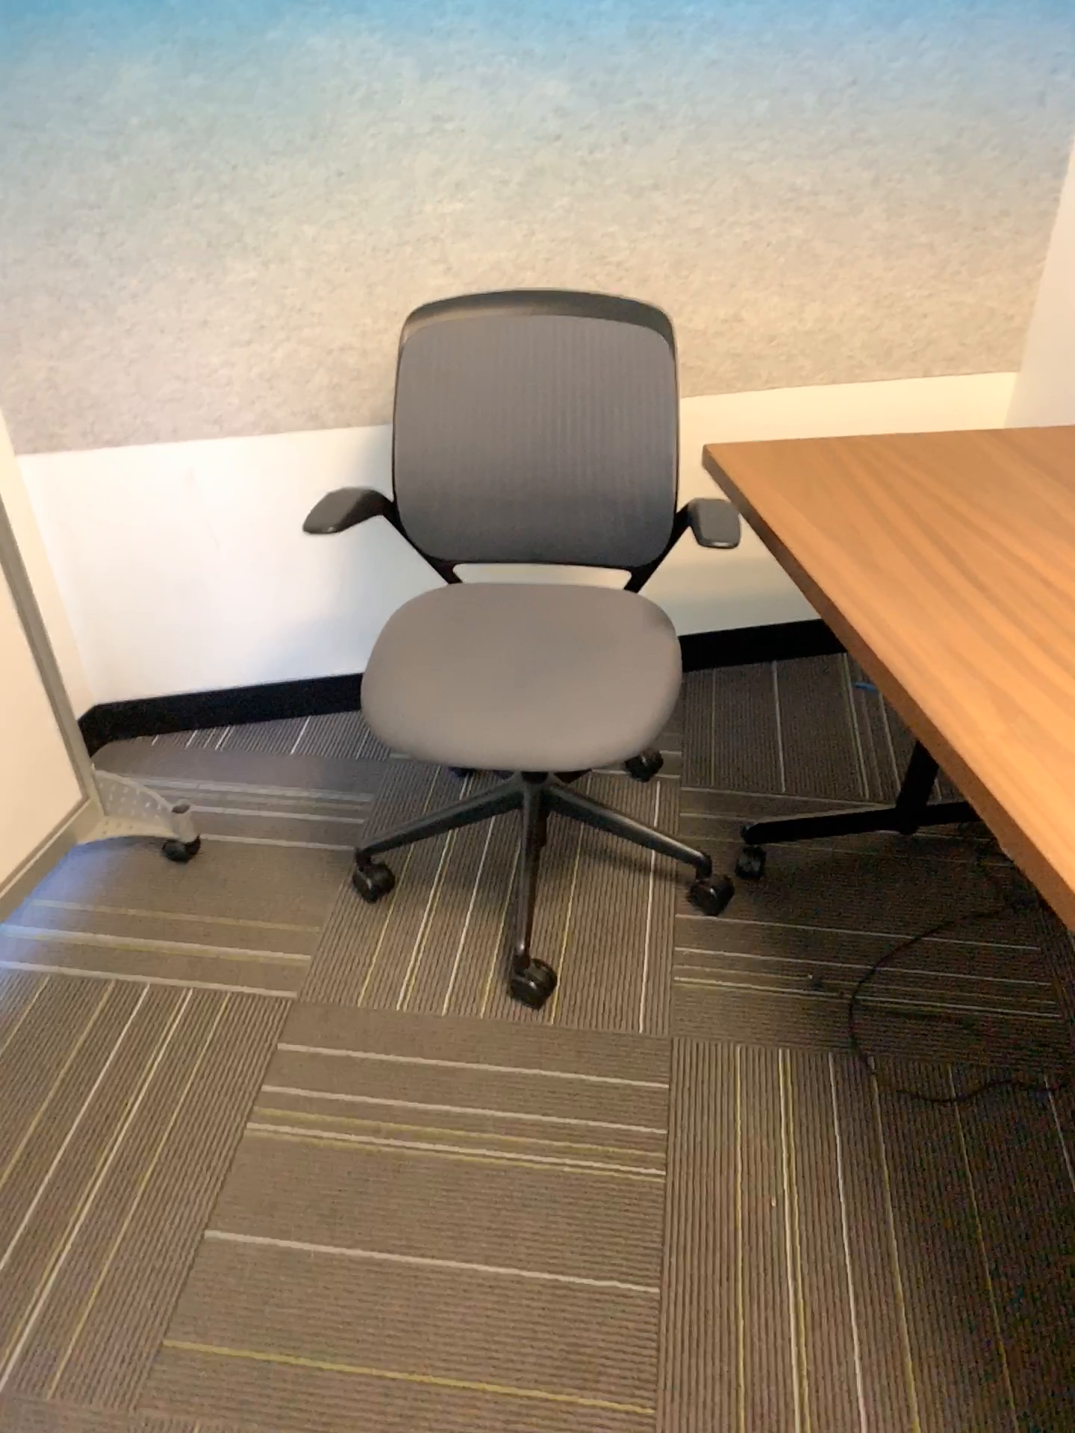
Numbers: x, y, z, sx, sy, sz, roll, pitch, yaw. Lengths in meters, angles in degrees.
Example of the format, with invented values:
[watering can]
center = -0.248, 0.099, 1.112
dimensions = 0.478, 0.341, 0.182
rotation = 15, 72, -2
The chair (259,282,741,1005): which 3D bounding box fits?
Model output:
[chair]
center = -0.009, -0.114, 1.695
dimensions = 0.540, 0.934, 0.533
rotation = 5, 34, 8
